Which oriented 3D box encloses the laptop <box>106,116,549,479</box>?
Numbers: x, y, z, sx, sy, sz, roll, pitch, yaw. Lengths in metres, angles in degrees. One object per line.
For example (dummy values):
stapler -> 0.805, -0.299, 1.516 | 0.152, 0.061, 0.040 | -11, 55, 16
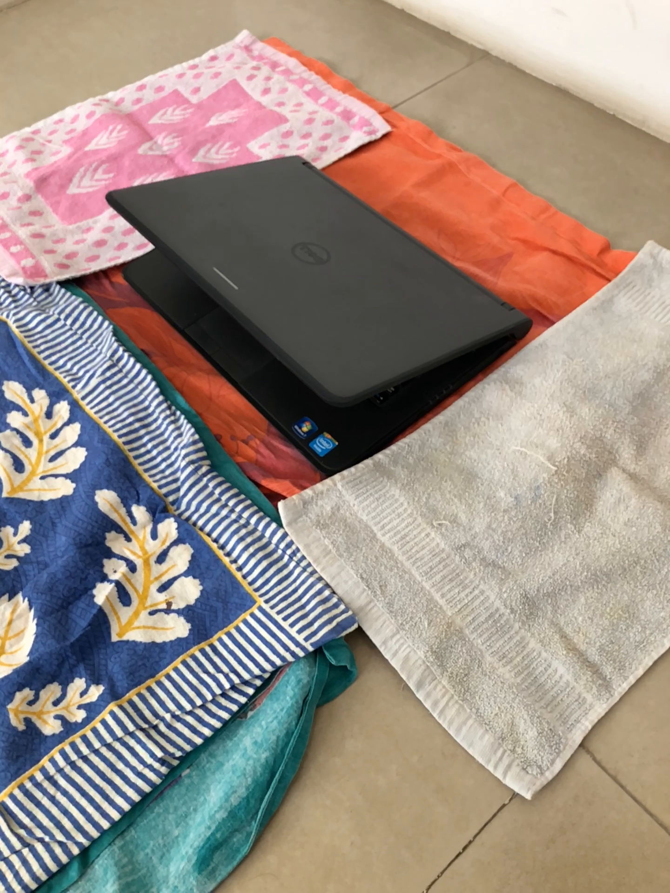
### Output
laptop -> -0.013, -0.153, 0.663 | 0.227, 0.078, 0.315 | -35, 61, -22
